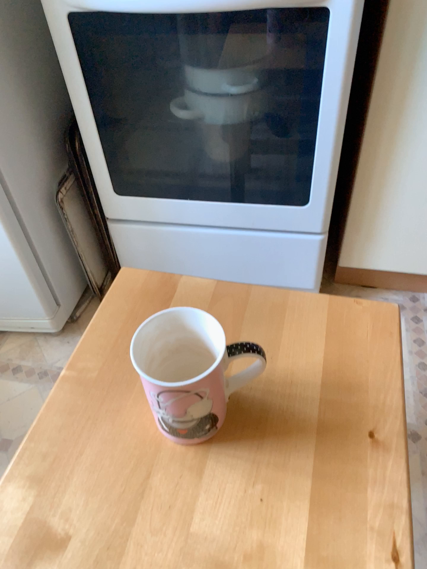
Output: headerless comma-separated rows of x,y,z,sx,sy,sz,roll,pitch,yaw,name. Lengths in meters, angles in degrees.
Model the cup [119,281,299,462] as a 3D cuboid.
-0.004,0.073,0.365,0.120,0.099,0.081,-13,46,-8,cup
